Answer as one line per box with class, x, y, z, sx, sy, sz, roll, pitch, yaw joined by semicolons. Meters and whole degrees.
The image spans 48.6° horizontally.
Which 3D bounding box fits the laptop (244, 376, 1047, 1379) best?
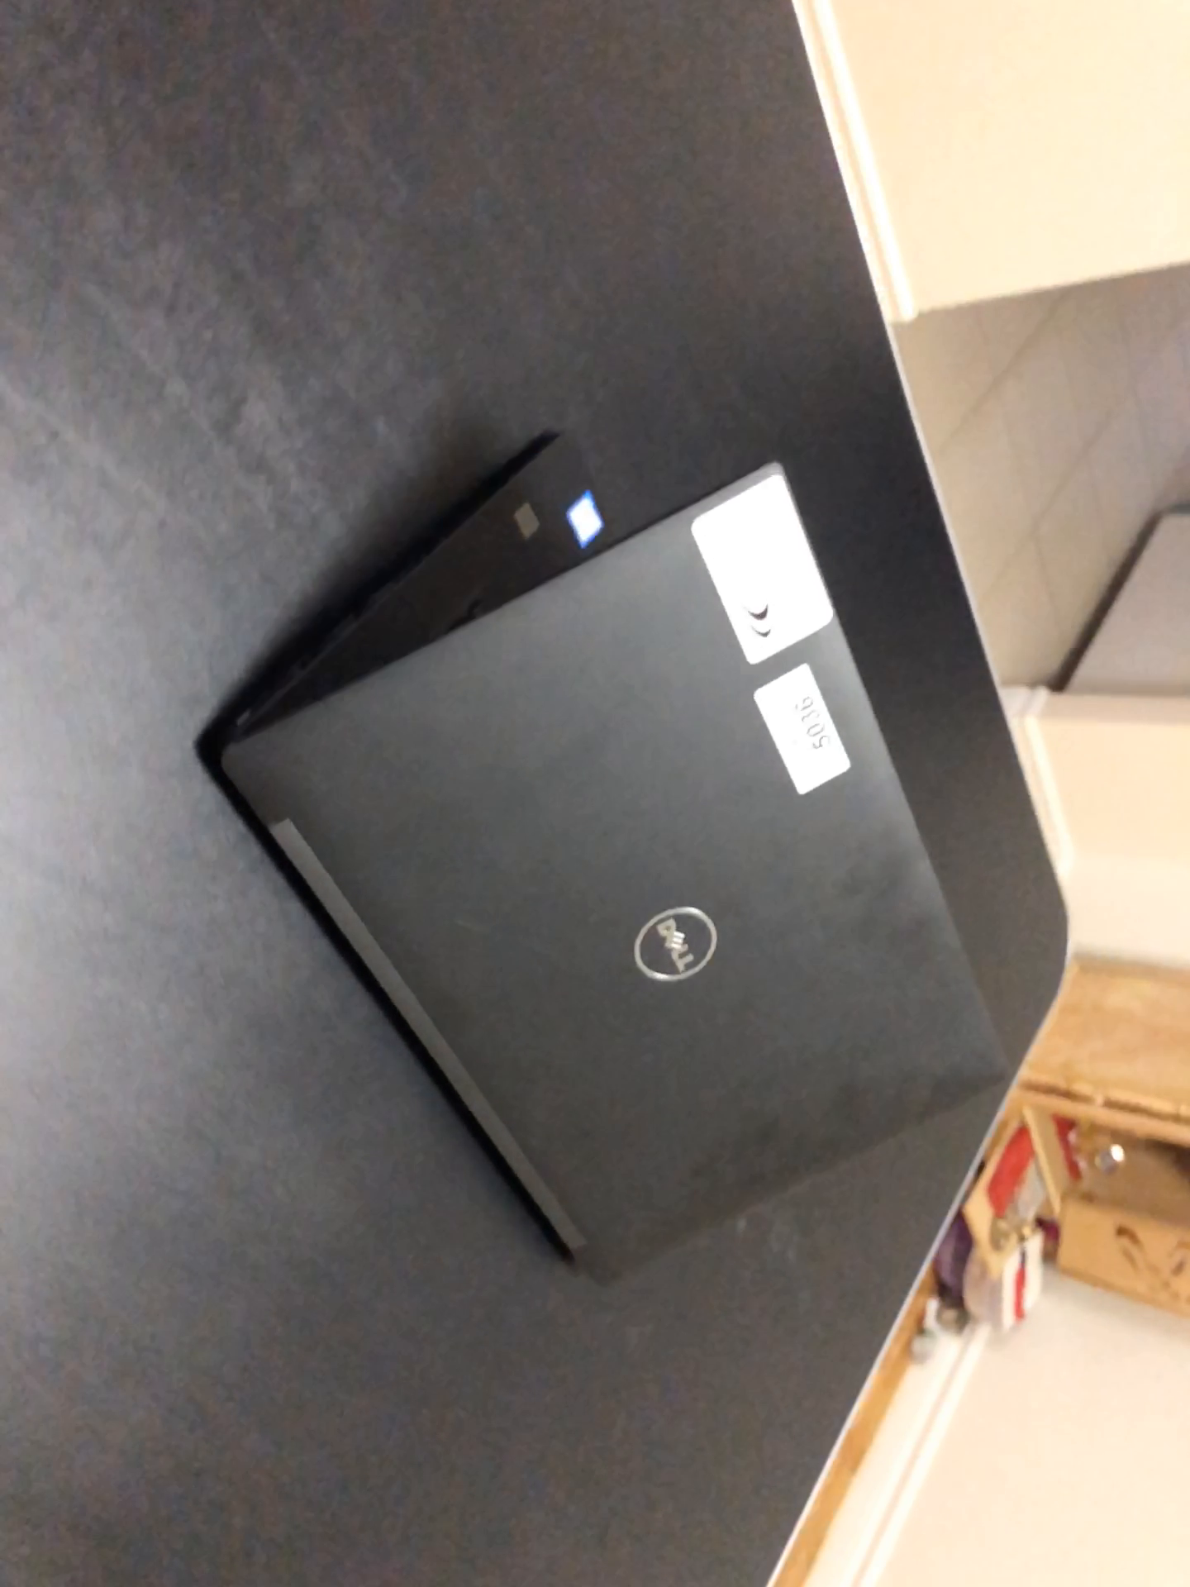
laptop;0.050;0.037;0.557;0.220;0.142;0.319;-50;128;-32
